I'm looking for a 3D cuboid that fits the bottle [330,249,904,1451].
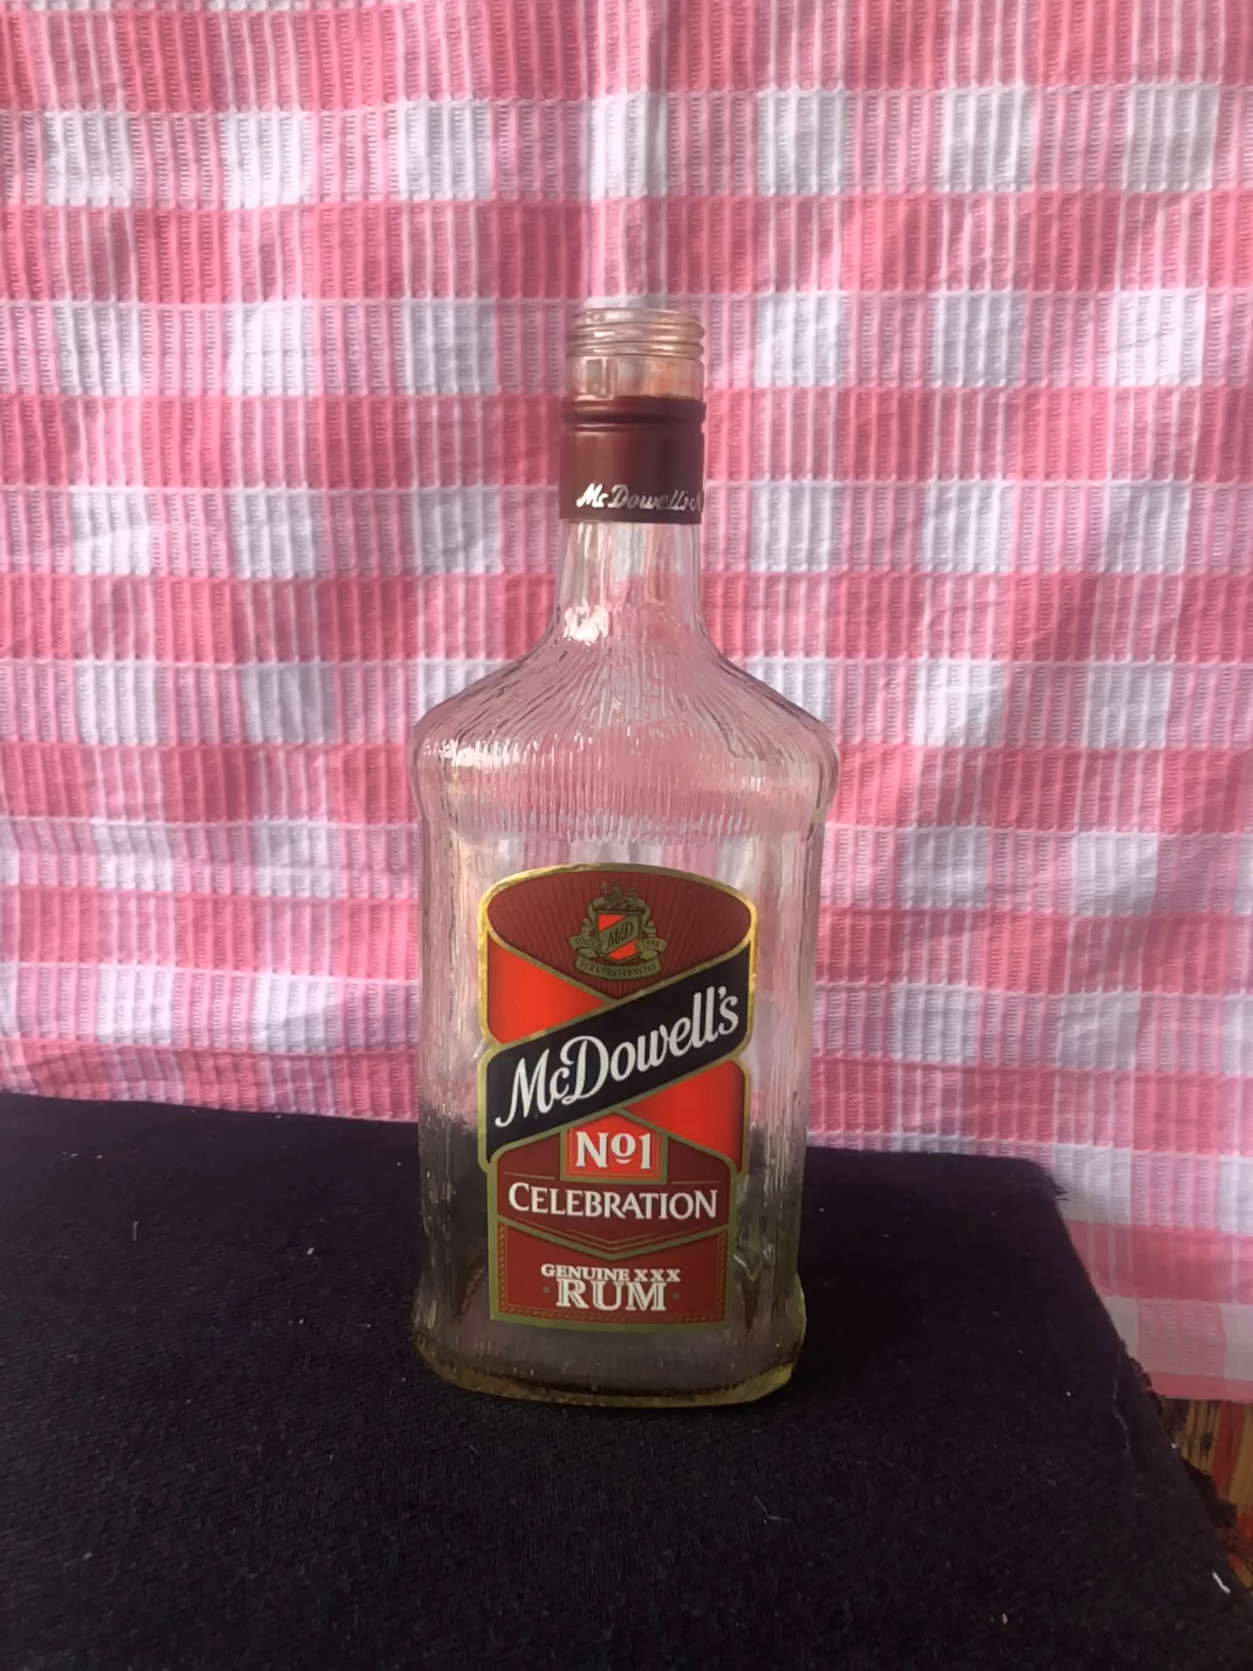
[{"bbox_3d":[-0.007,0.008,0.301,0.100,0.239,0.060,3,15,-1],"label":"bottle"}]
